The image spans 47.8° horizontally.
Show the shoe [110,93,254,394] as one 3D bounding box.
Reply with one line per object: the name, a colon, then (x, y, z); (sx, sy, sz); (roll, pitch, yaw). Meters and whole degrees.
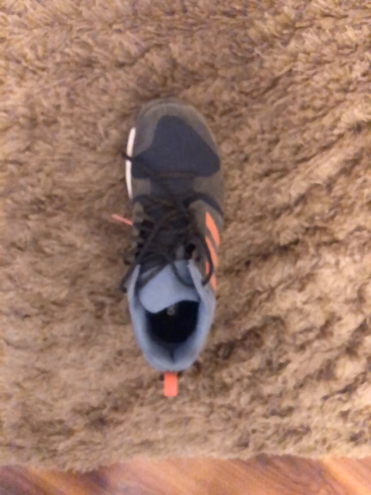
shoe: (-0.008, -0.004, 0.421); (0.113, 0.110, 0.275); (1, 108, -3)
